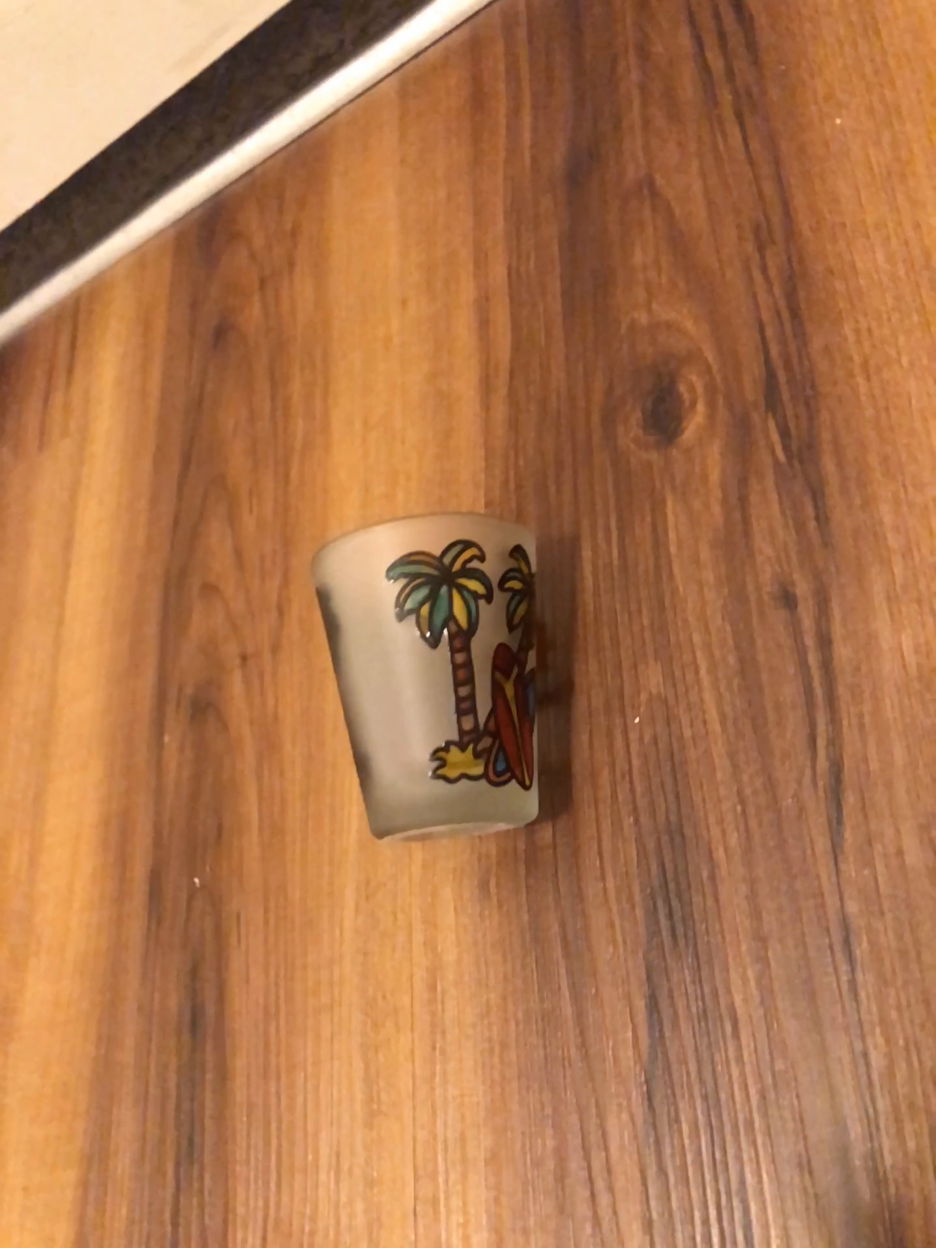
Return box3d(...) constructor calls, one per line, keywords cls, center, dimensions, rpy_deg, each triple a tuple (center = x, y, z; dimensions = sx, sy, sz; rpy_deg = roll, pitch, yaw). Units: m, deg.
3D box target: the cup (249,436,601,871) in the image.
box3d(cls="cup", center=(-0.009, 0.010, 0.211), dimensions=(0.050, 0.045, 0.070), rpy_deg=(-17, 66, 34))
